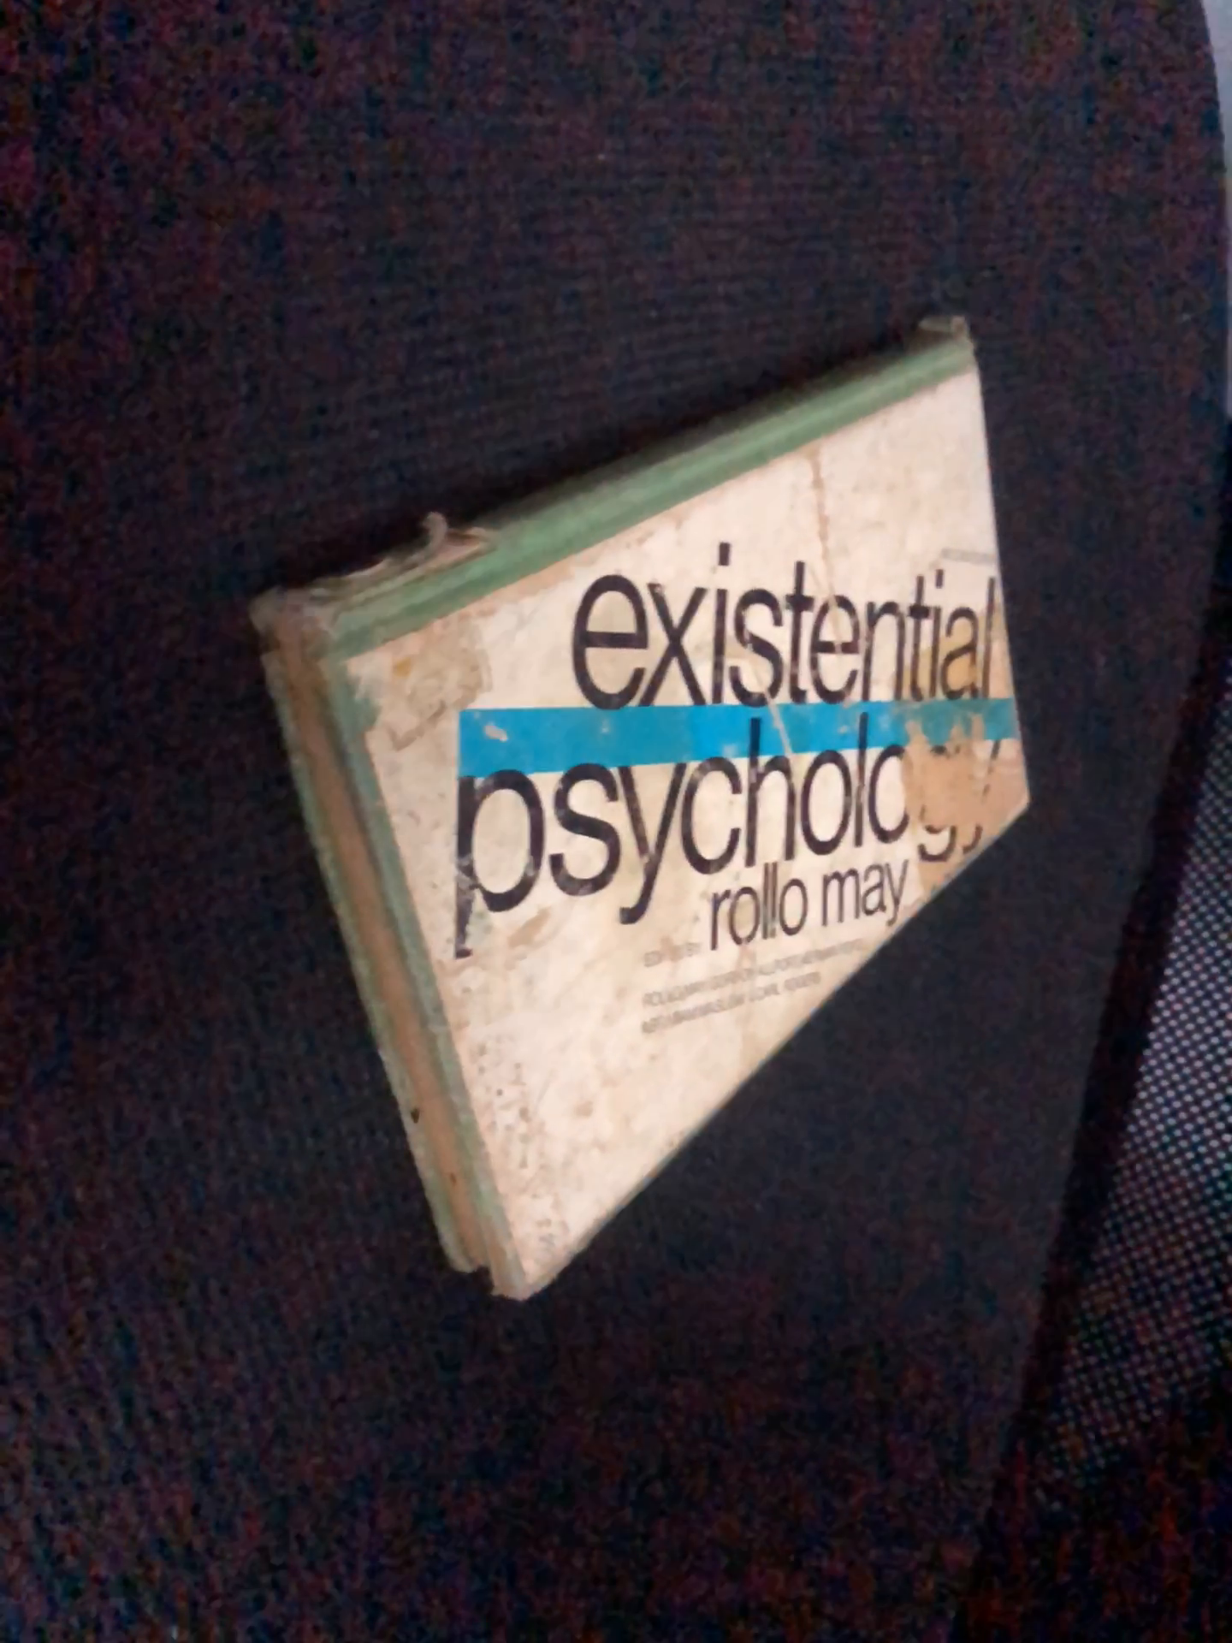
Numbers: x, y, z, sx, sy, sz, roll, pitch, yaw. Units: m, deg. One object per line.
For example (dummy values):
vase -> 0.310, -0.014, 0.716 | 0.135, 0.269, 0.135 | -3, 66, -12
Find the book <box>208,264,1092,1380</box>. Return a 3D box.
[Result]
book -> 0.033, -0.017, 0.252 | 0.201, 0.020, 0.126 | -35, 123, -40
